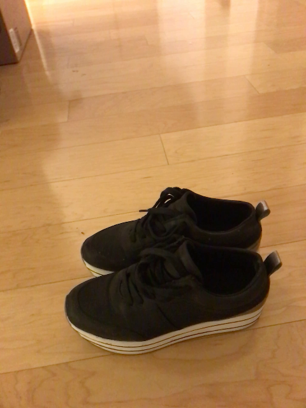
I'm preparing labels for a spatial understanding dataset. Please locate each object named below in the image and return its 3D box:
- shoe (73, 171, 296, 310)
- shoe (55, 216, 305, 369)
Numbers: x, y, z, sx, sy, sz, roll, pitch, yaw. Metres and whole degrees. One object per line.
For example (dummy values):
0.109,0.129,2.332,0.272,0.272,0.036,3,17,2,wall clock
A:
0.038,0.052,0.502,0.290,0.109,0.121,-9,43,-4,shoe
0.030,0.116,0.452,0.290,0.099,0.121,-9,43,-4,shoe
